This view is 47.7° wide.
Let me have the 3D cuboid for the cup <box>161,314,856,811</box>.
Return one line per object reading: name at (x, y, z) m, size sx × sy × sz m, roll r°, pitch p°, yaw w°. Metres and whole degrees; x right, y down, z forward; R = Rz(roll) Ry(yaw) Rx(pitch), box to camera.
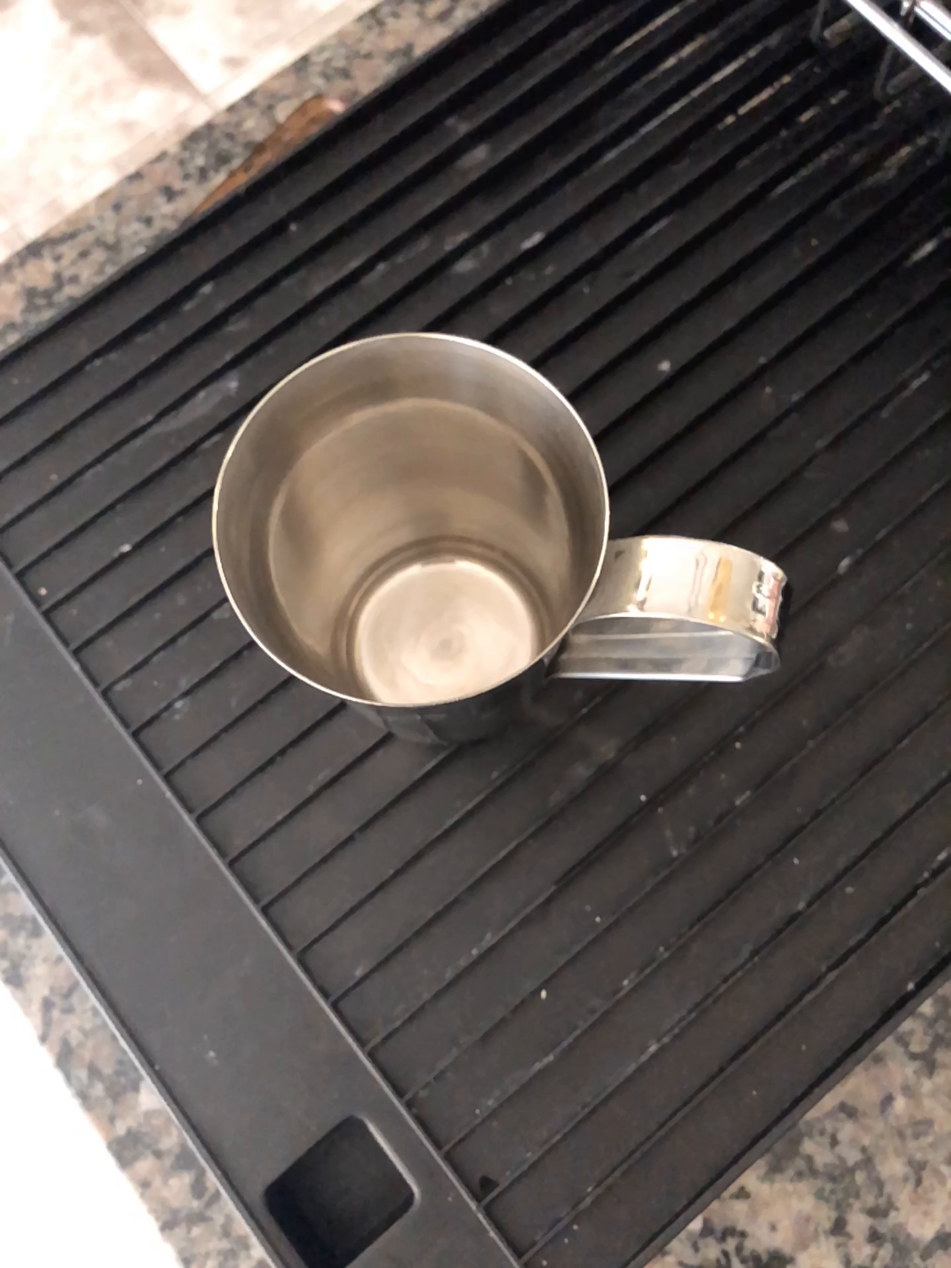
cup at (0.009, -0.007, 0.229) m, size 0.110 × 0.097 × 0.065 m, roll 7°, pitch 75°, yaw 5°
